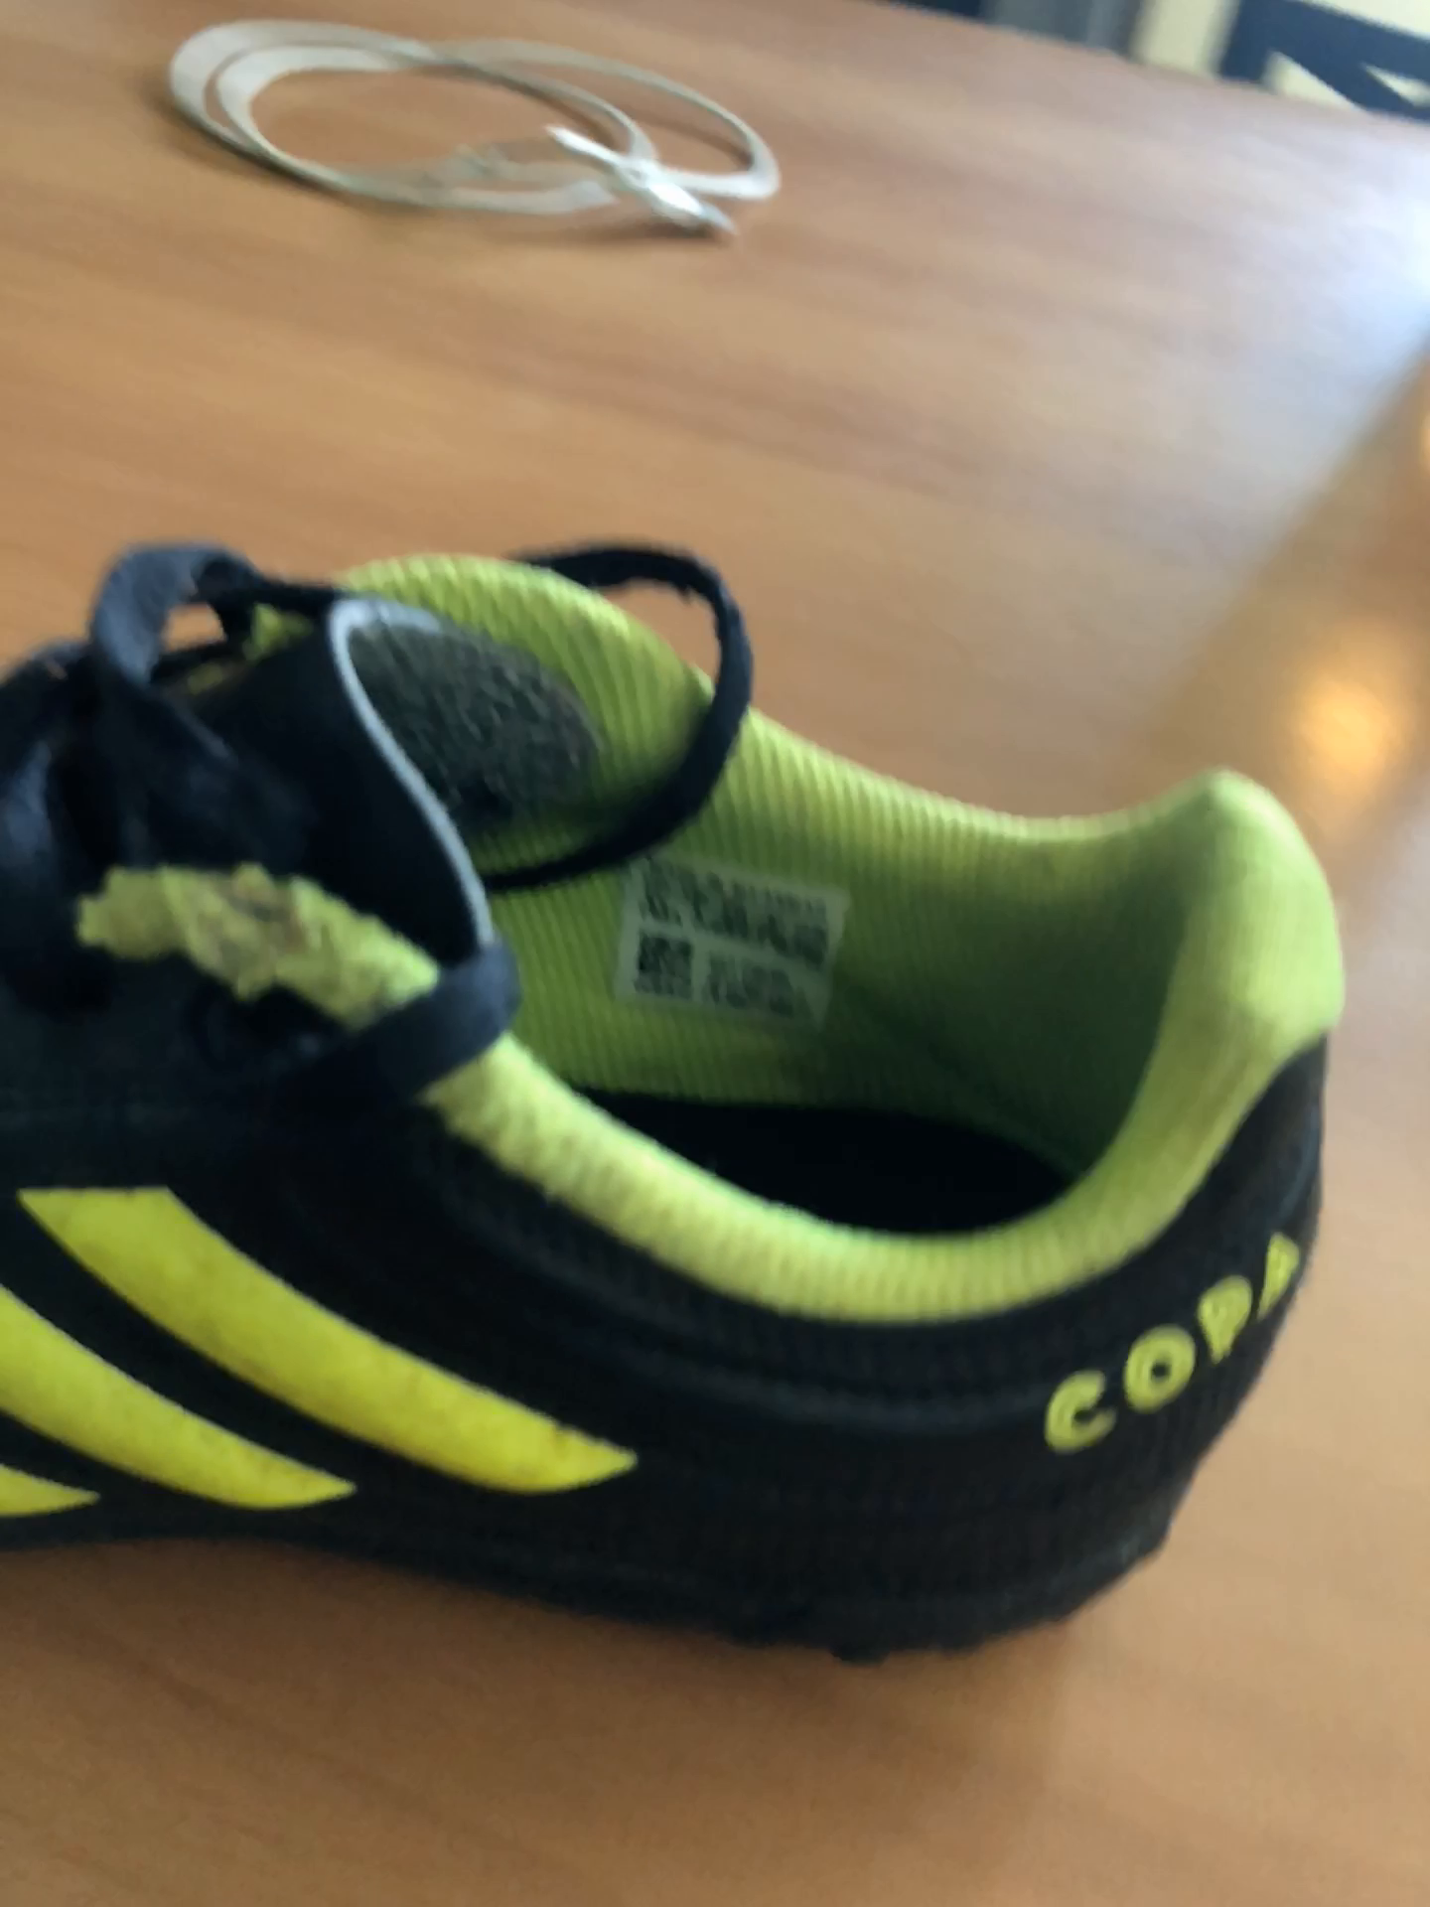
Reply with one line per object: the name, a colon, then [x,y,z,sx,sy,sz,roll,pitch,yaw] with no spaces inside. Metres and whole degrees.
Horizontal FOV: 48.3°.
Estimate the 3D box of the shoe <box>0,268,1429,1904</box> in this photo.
shoe: [-0.059,0.011,0.161,0.220,0.089,0.091,10,41,0]
